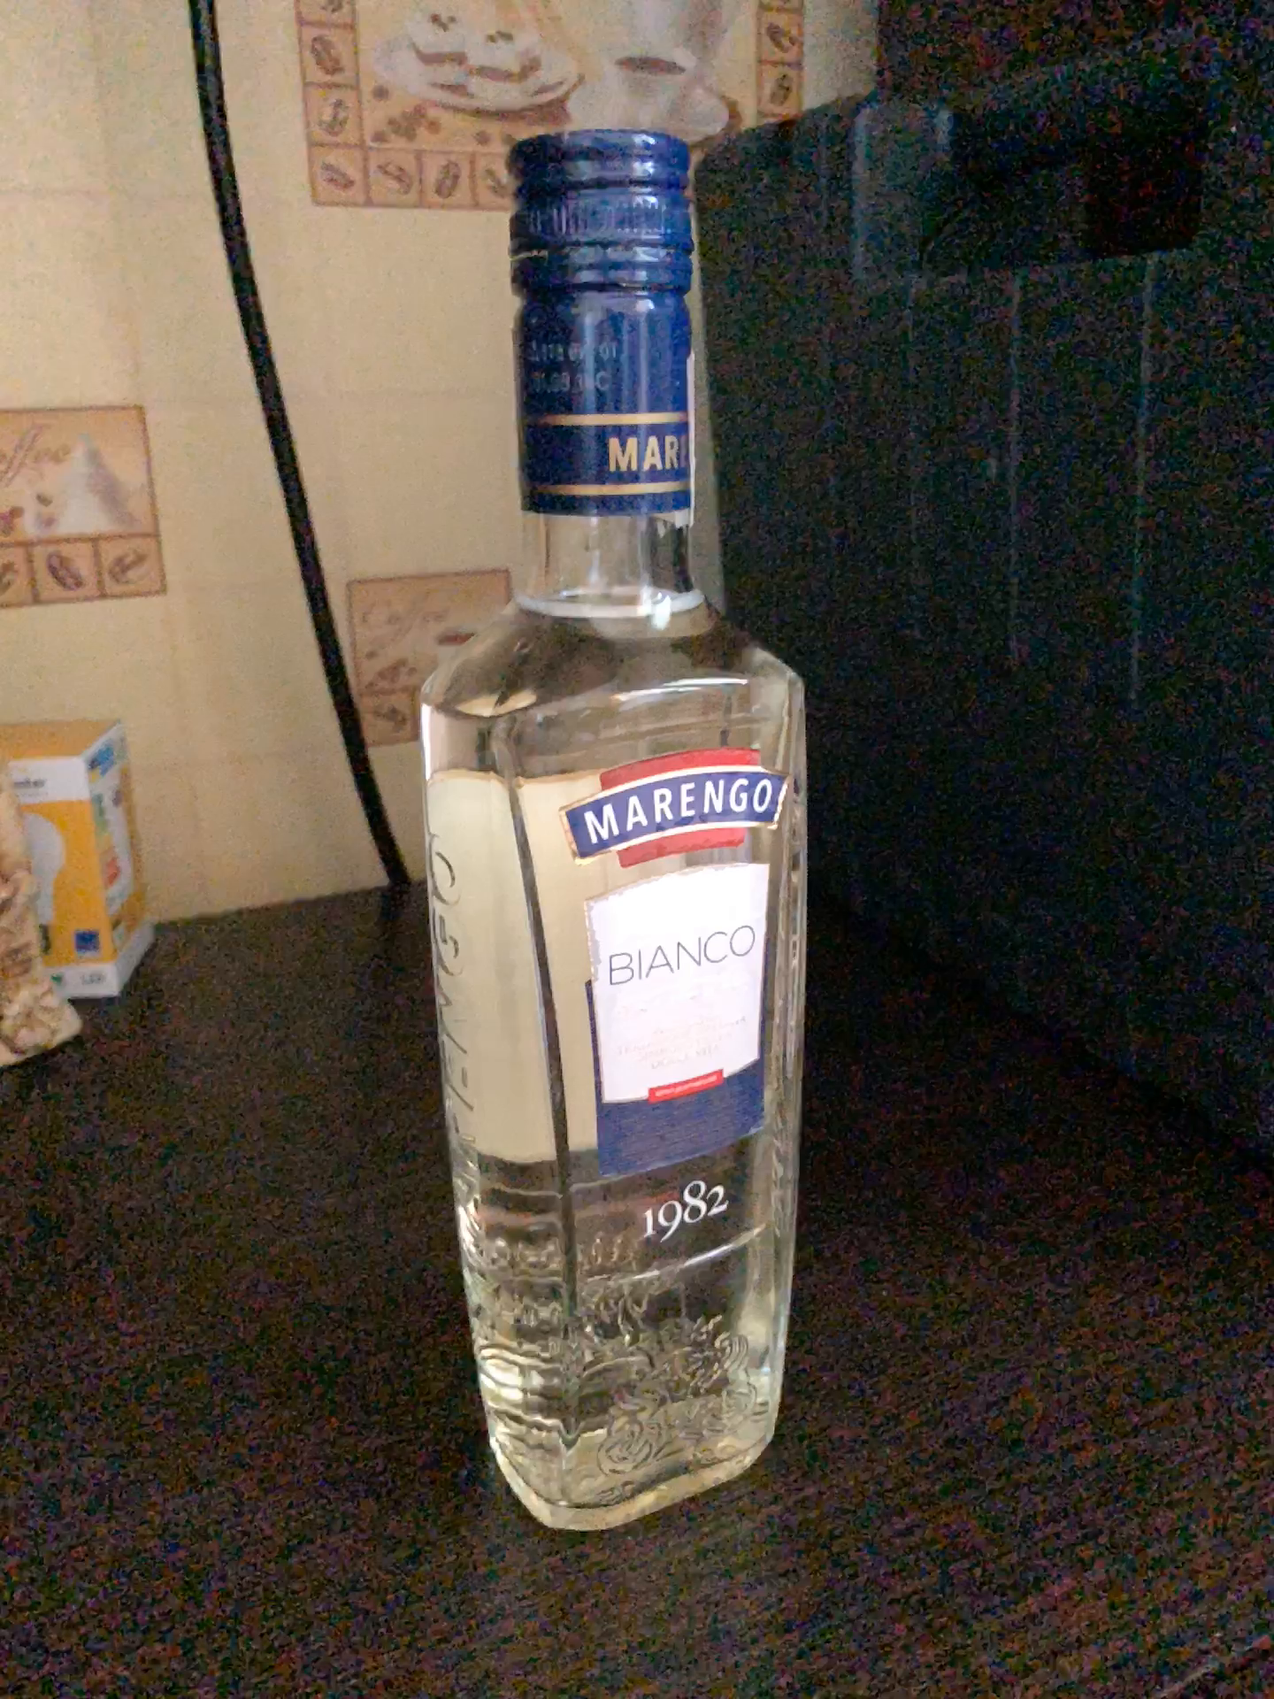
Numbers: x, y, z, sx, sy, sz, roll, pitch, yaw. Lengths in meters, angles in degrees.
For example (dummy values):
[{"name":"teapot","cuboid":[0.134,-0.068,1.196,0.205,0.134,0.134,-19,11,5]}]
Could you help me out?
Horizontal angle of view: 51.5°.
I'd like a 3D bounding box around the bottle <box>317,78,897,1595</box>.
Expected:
[{"name":"bottle","cuboid":[-0.004,0.010,0.279,0.090,0.289,0.050,-9,20,-23]}]
